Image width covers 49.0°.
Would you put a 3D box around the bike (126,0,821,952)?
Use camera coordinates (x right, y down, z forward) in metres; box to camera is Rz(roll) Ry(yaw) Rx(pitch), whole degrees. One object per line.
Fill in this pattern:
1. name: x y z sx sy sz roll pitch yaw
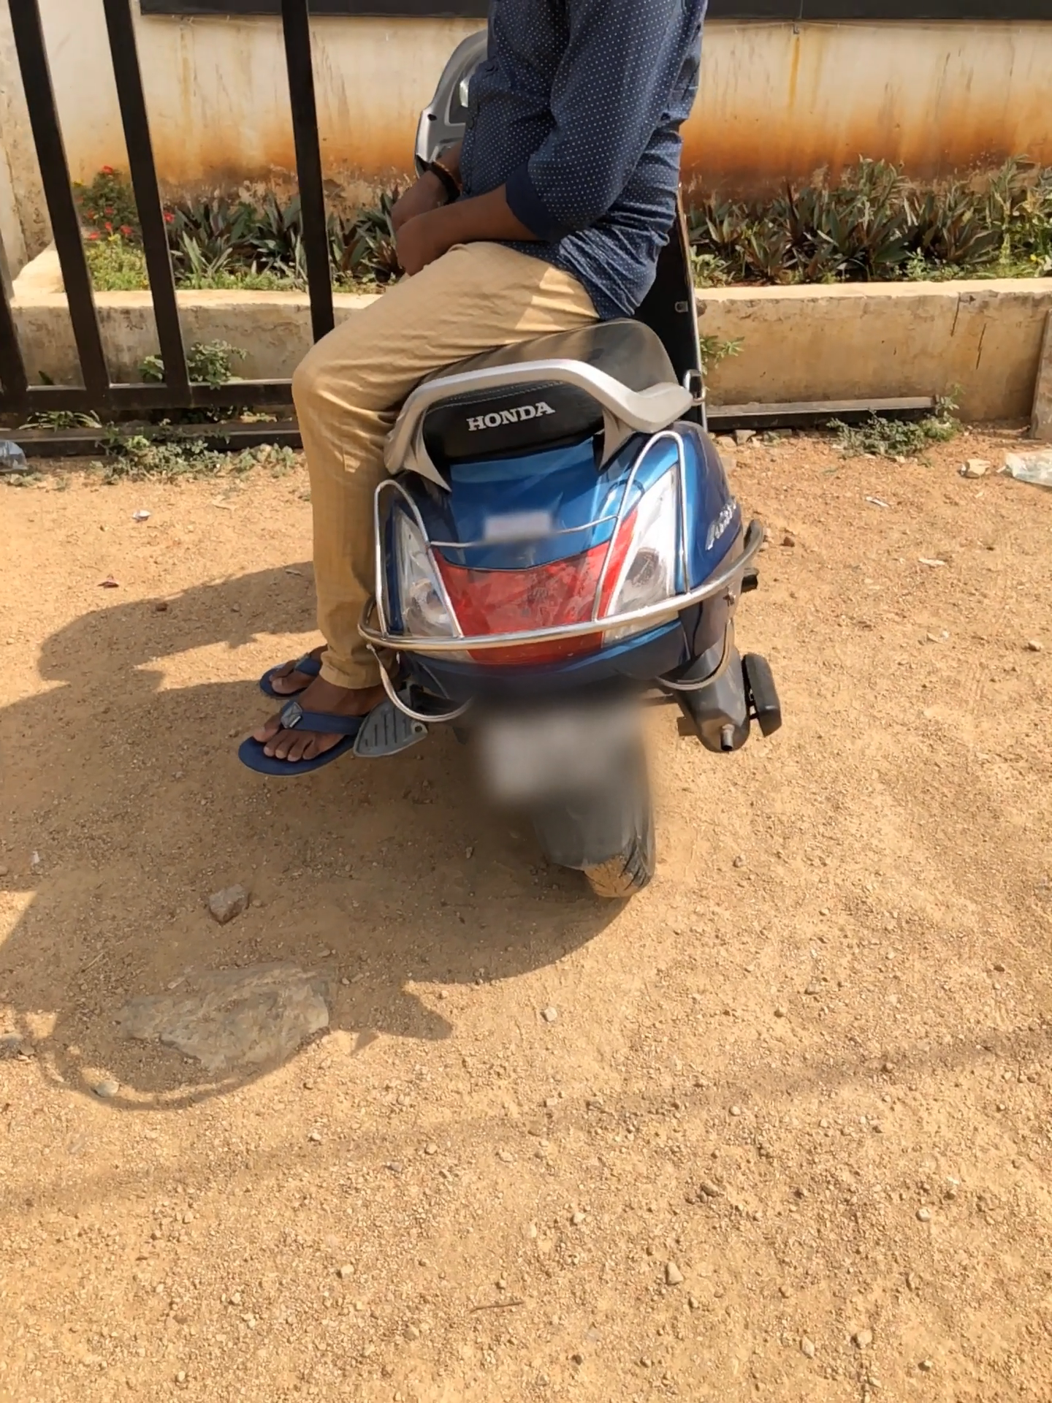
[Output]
1. bike: -0.074 -0.581 1.961 0.622 1.114 1.558 0 33 -1
